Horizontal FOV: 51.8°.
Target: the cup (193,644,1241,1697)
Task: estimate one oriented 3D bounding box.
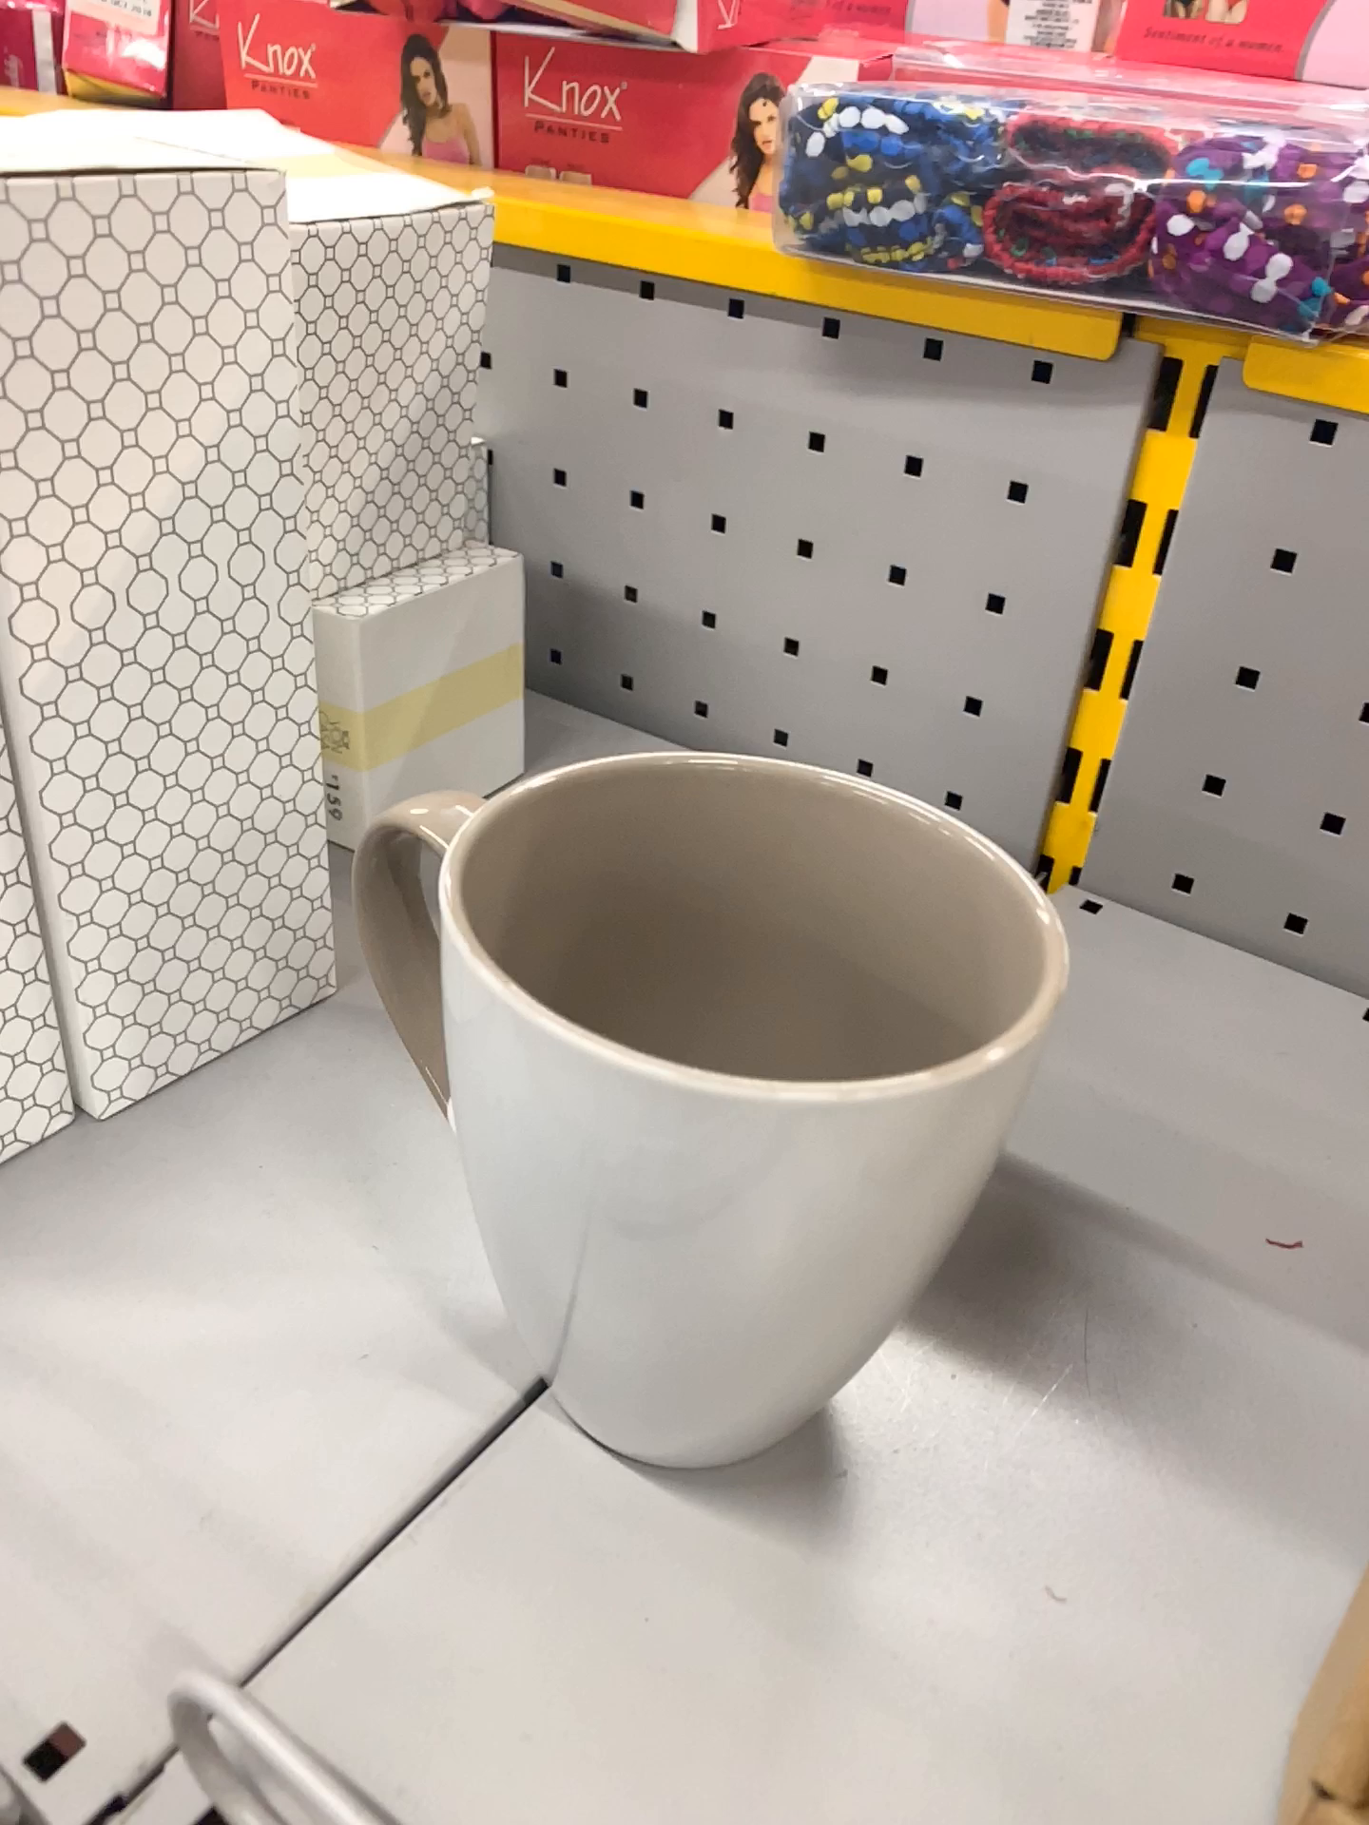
[{"bbox_3d":[0.001,0.031,0.257,0.140,0.100,0.100,27,38,29],"label":"cup"}]
